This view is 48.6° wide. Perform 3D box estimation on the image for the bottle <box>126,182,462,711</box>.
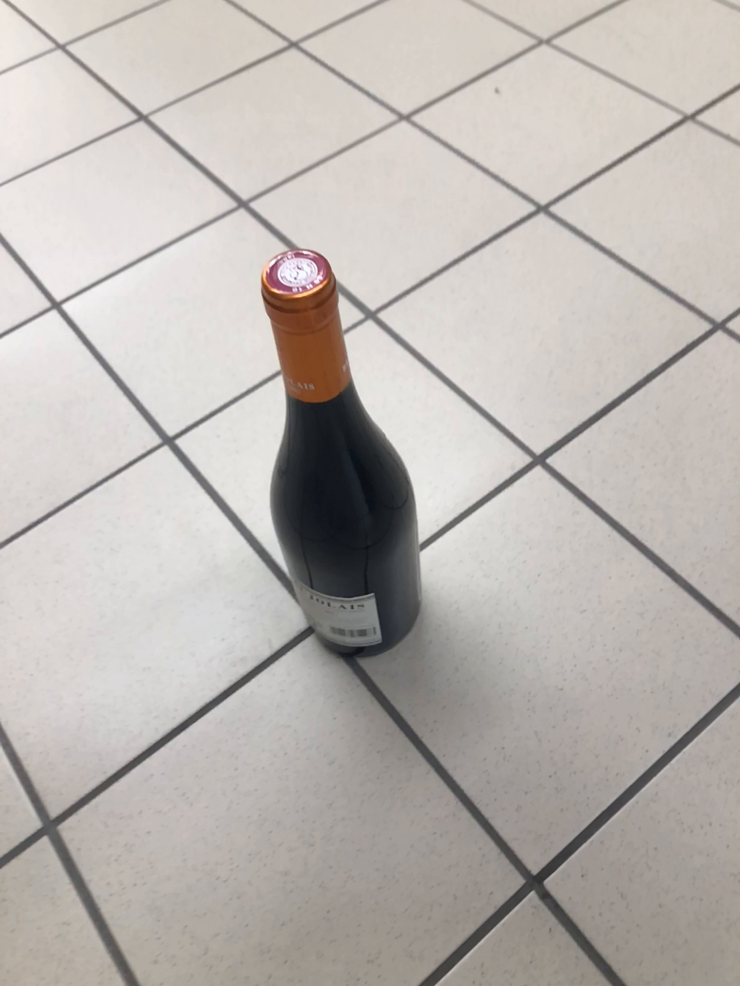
[{"bbox_3d":[-0.017,0.003,0.427,0.090,0.289,0.090,-3,56,4],"label":"bottle"}]
